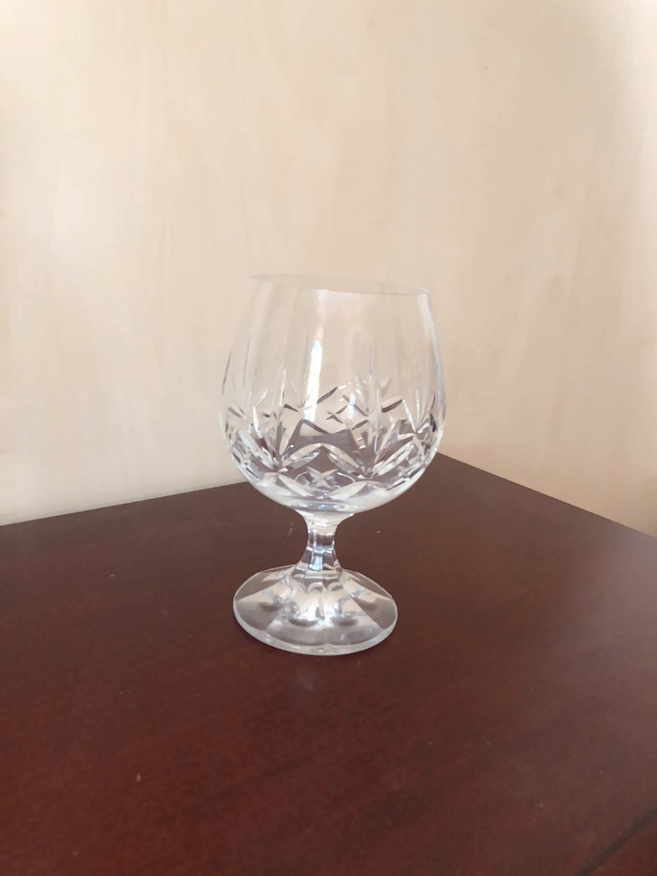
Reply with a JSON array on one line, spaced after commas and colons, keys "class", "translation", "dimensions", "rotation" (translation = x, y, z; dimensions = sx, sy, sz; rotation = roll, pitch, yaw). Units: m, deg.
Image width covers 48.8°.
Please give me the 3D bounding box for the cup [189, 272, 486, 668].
[{"class": "cup", "translation": [-0.001, 0.005, 0.277], "dimensions": [0.087, 0.126, 0.089], "rotation": [4, 14, -1]}]
